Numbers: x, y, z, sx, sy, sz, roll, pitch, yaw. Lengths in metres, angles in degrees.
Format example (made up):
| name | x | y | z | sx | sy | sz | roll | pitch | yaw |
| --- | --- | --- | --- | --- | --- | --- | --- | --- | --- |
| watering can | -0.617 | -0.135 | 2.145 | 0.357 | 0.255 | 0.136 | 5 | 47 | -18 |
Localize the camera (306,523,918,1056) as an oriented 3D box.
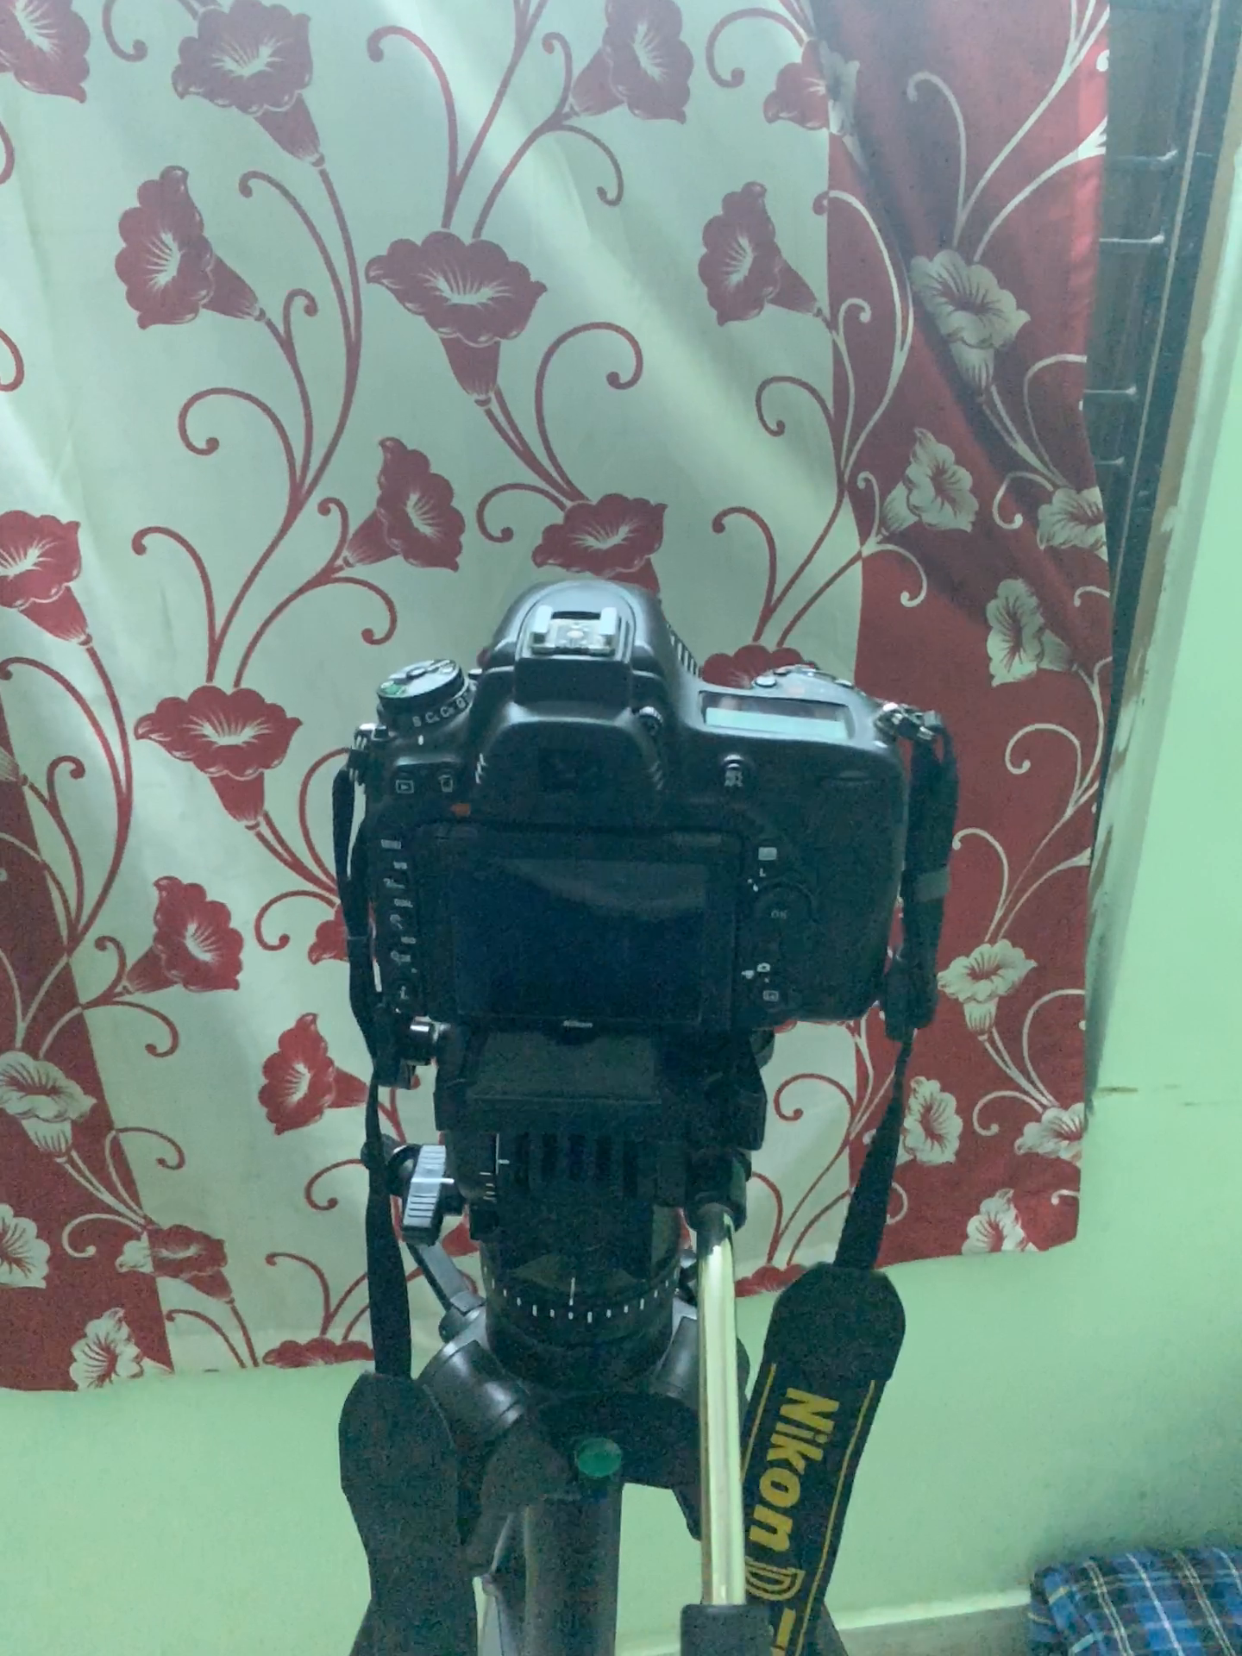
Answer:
| name | x | y | z | sx | sy | sz | roll | pitch | yaw |
| --- | --- | --- | --- | --- | --- | --- | --- | --- | --- |
| camera | -0.001 | -0.020 | 0.370 | 0.139 | 0.112 | 0.130 | 2 | 22 | 1 |
